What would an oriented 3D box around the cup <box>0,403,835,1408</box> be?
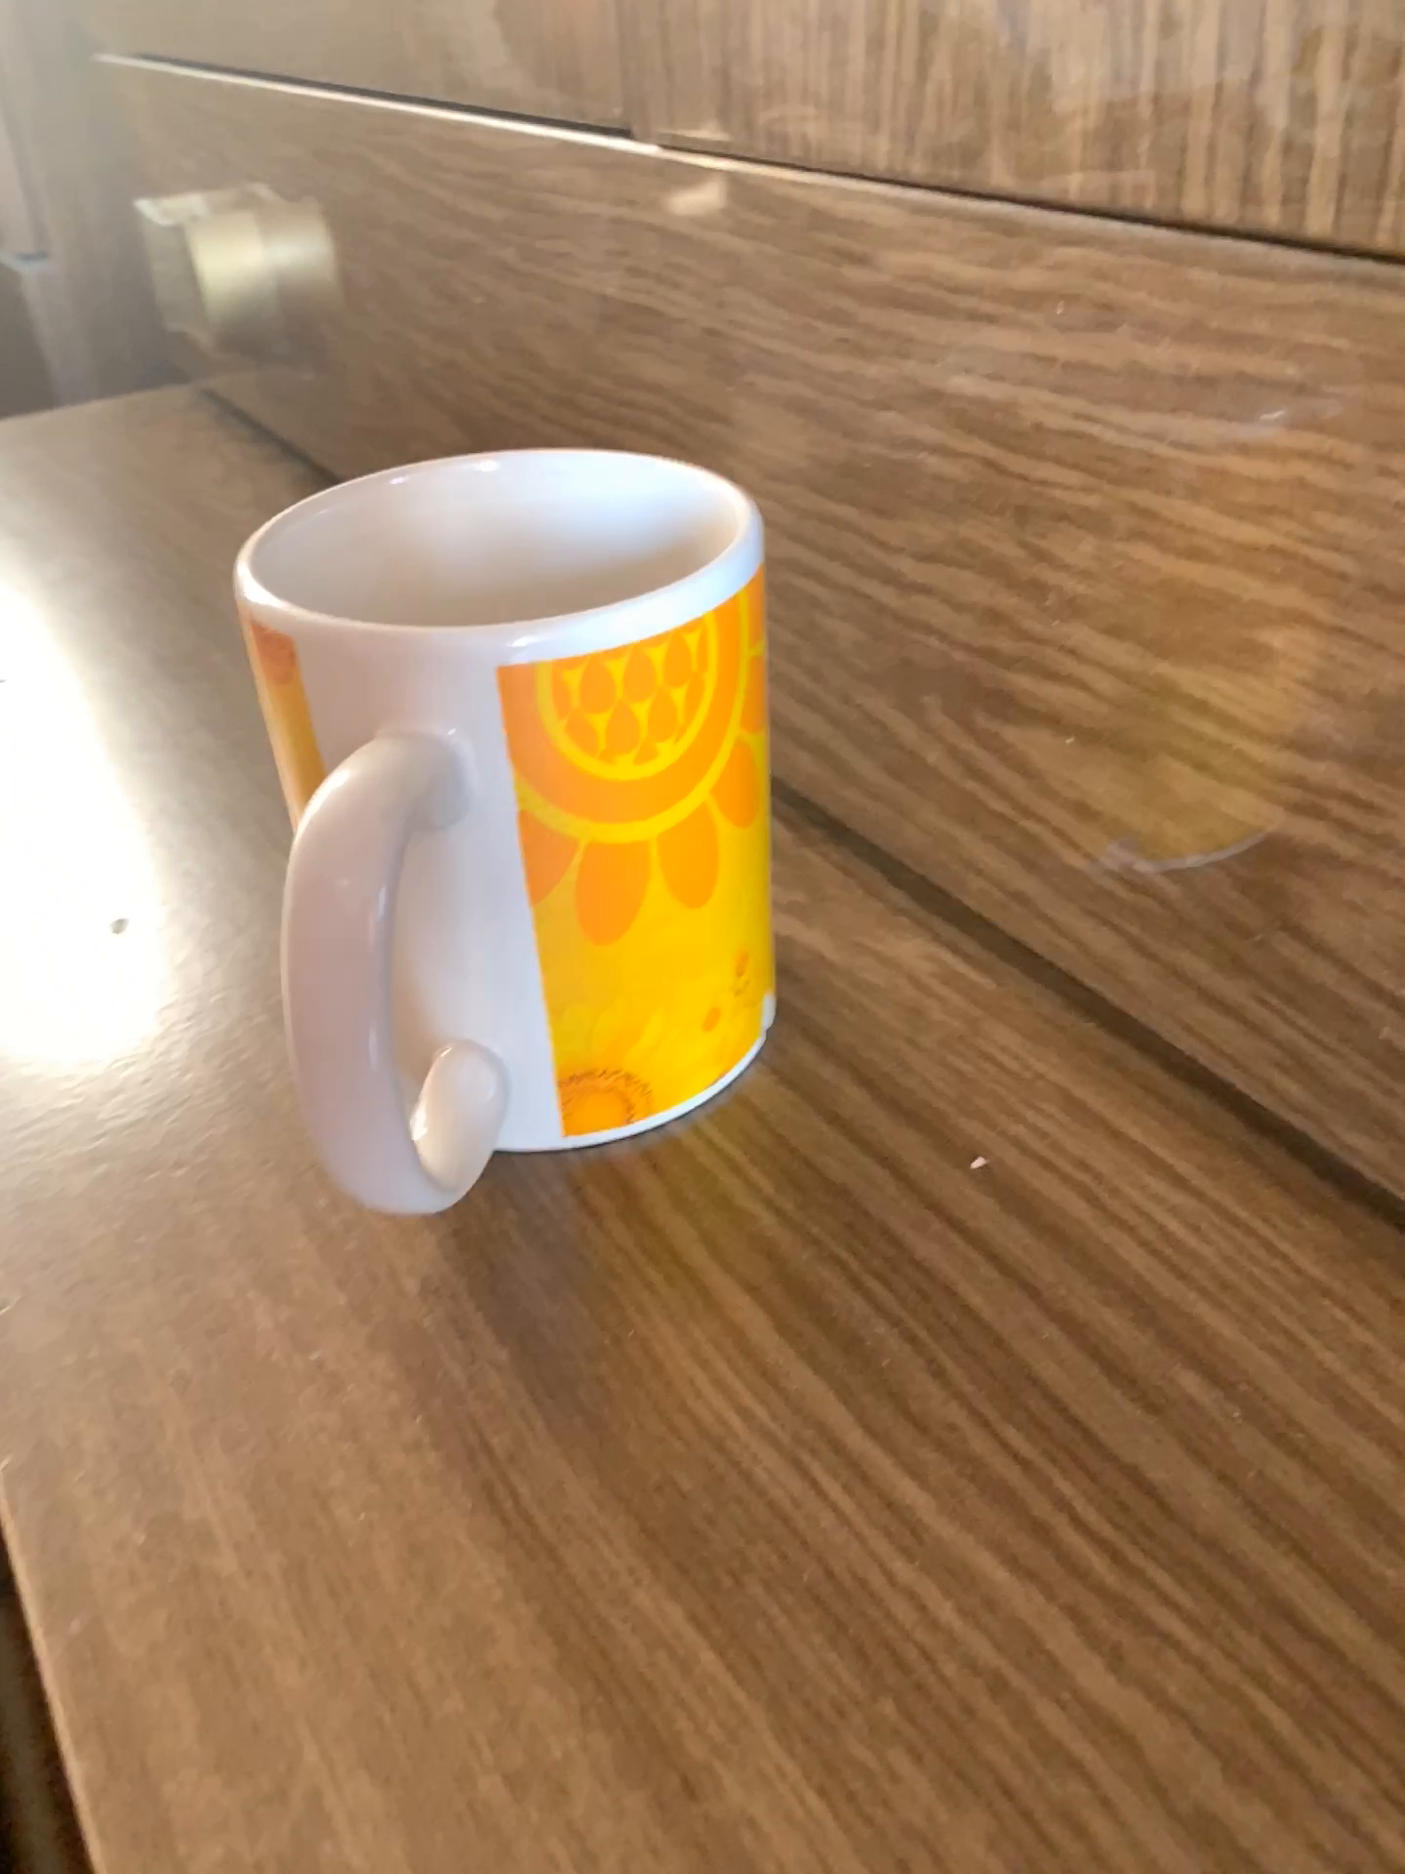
[{"bbox_3d":[-0.037,-0.016,0.232,0.090,0.097,0.124,7,37,16],"label":"cup"}]
